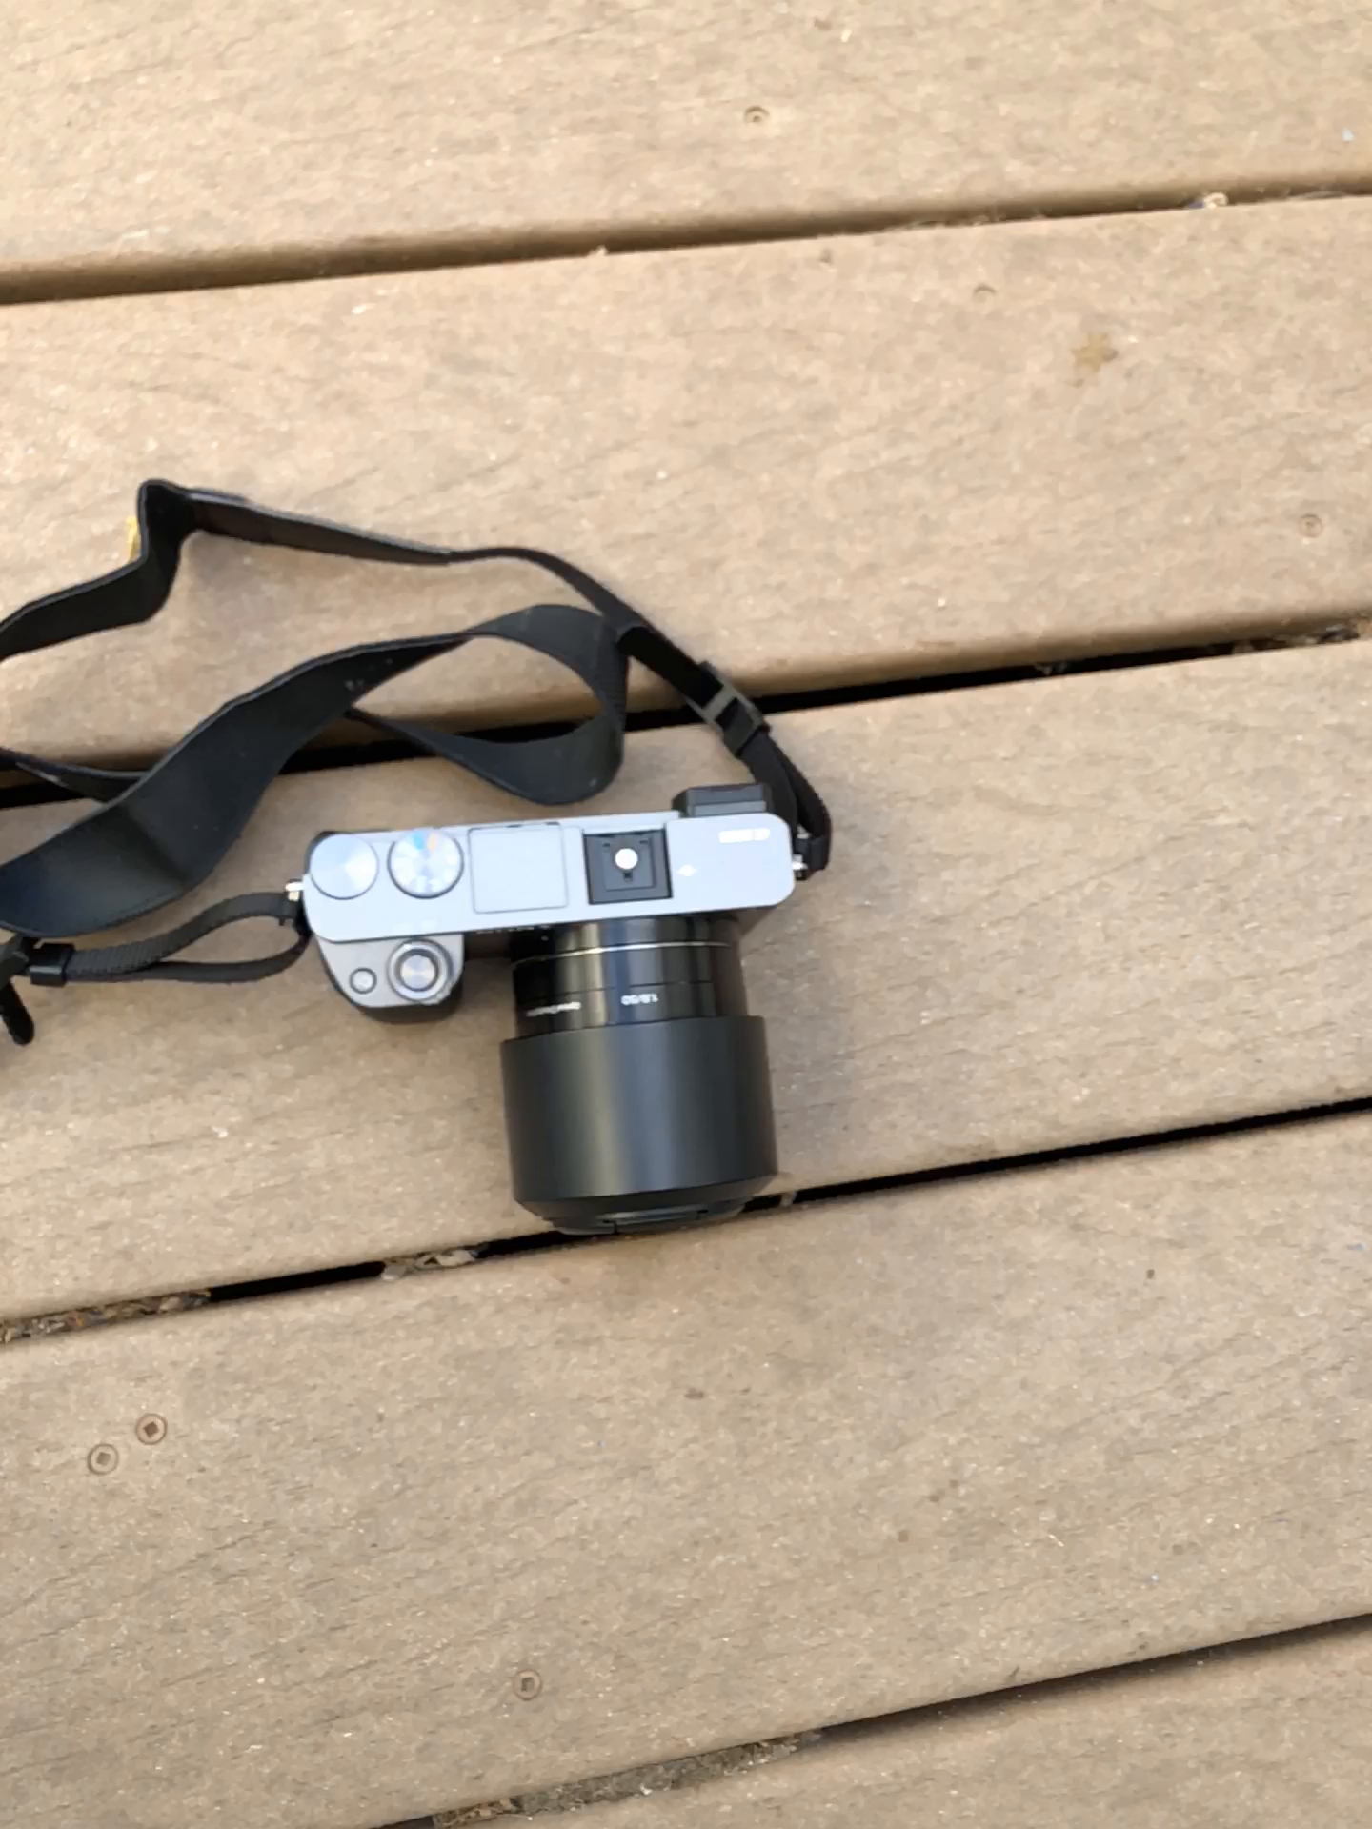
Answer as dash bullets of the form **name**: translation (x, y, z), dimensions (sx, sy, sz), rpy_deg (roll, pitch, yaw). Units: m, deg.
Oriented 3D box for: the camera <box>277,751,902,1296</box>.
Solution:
- **camera**: translation (-0.025, 0.027, 0.376), dimensions (0.130, 0.070, 0.110), rpy_deg (-5, 82, -7)
